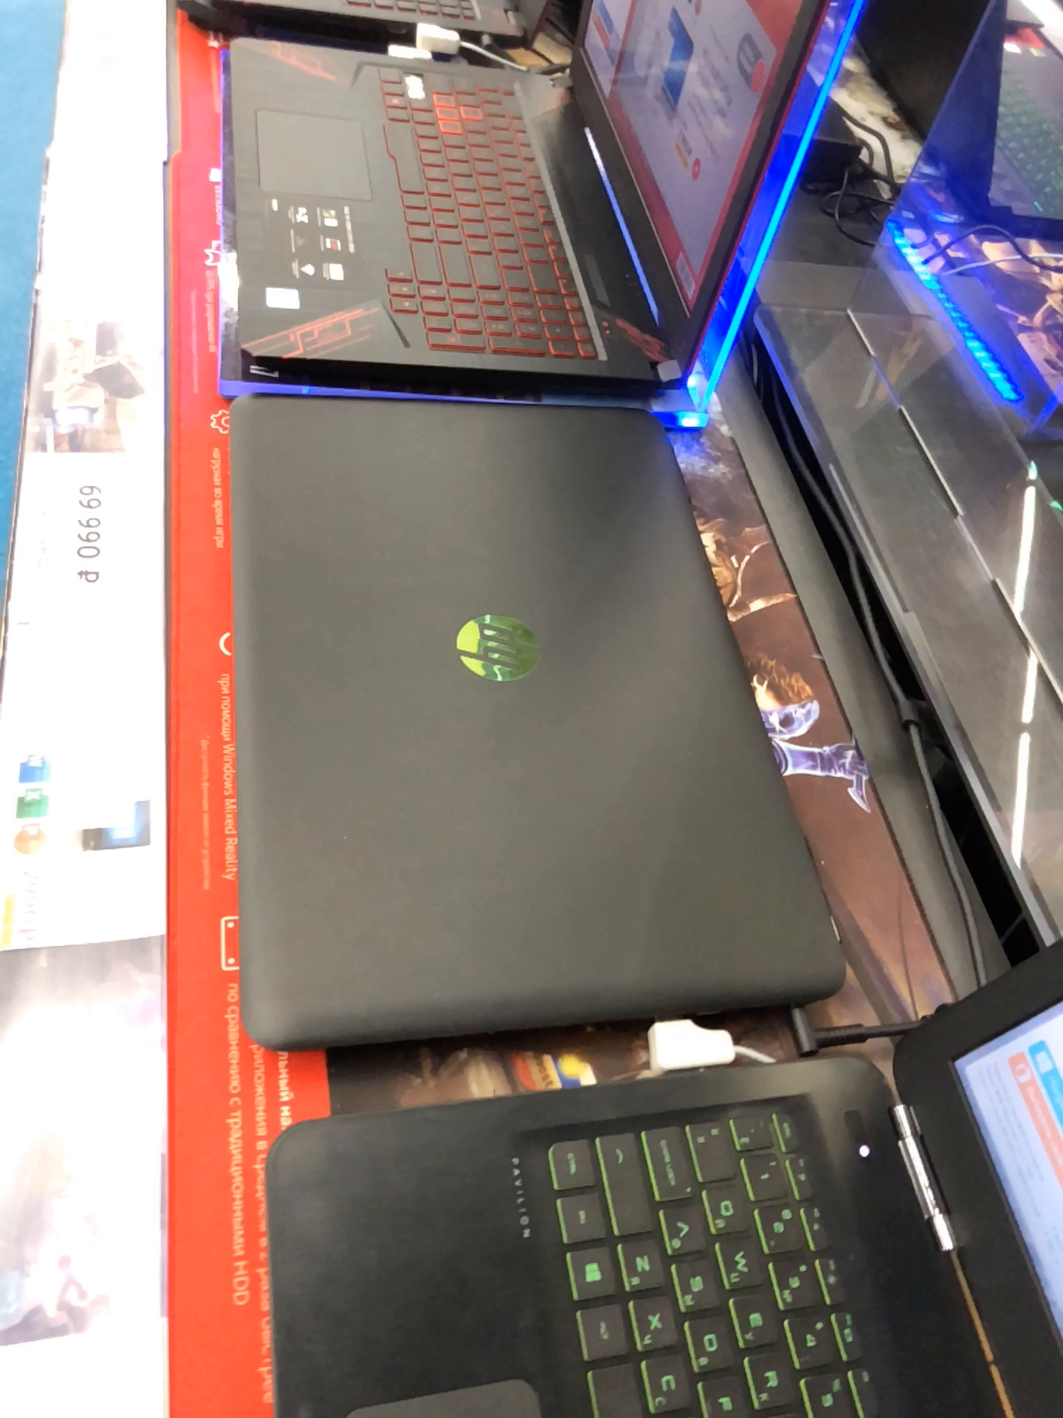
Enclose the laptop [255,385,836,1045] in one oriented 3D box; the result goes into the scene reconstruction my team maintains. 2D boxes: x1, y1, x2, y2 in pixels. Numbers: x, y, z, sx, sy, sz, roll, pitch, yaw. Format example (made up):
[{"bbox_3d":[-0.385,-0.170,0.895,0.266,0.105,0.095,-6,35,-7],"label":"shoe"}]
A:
[{"bbox_3d":[-0.014,-0.030,0.566,0.232,0.012,0.367,-2,55,-12],"label":"laptop"}]
